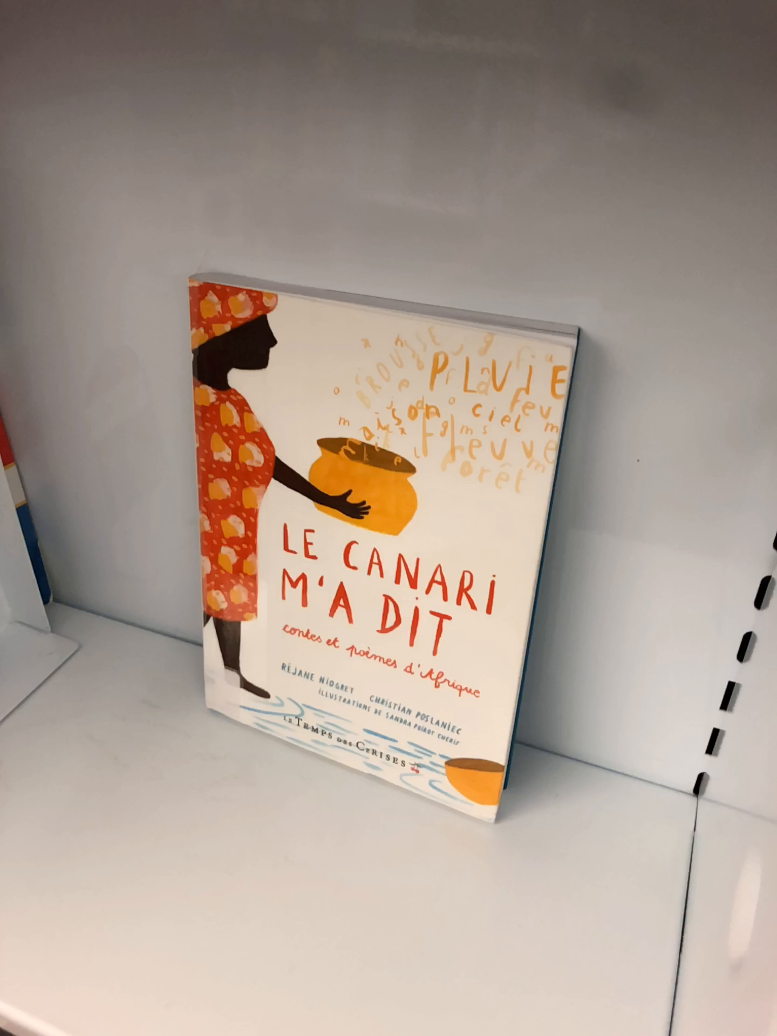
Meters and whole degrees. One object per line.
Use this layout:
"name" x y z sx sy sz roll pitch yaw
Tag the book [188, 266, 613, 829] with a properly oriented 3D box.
"book" -0.006 0.013 0.349 0.149 0.199 0.037 15 29 20
